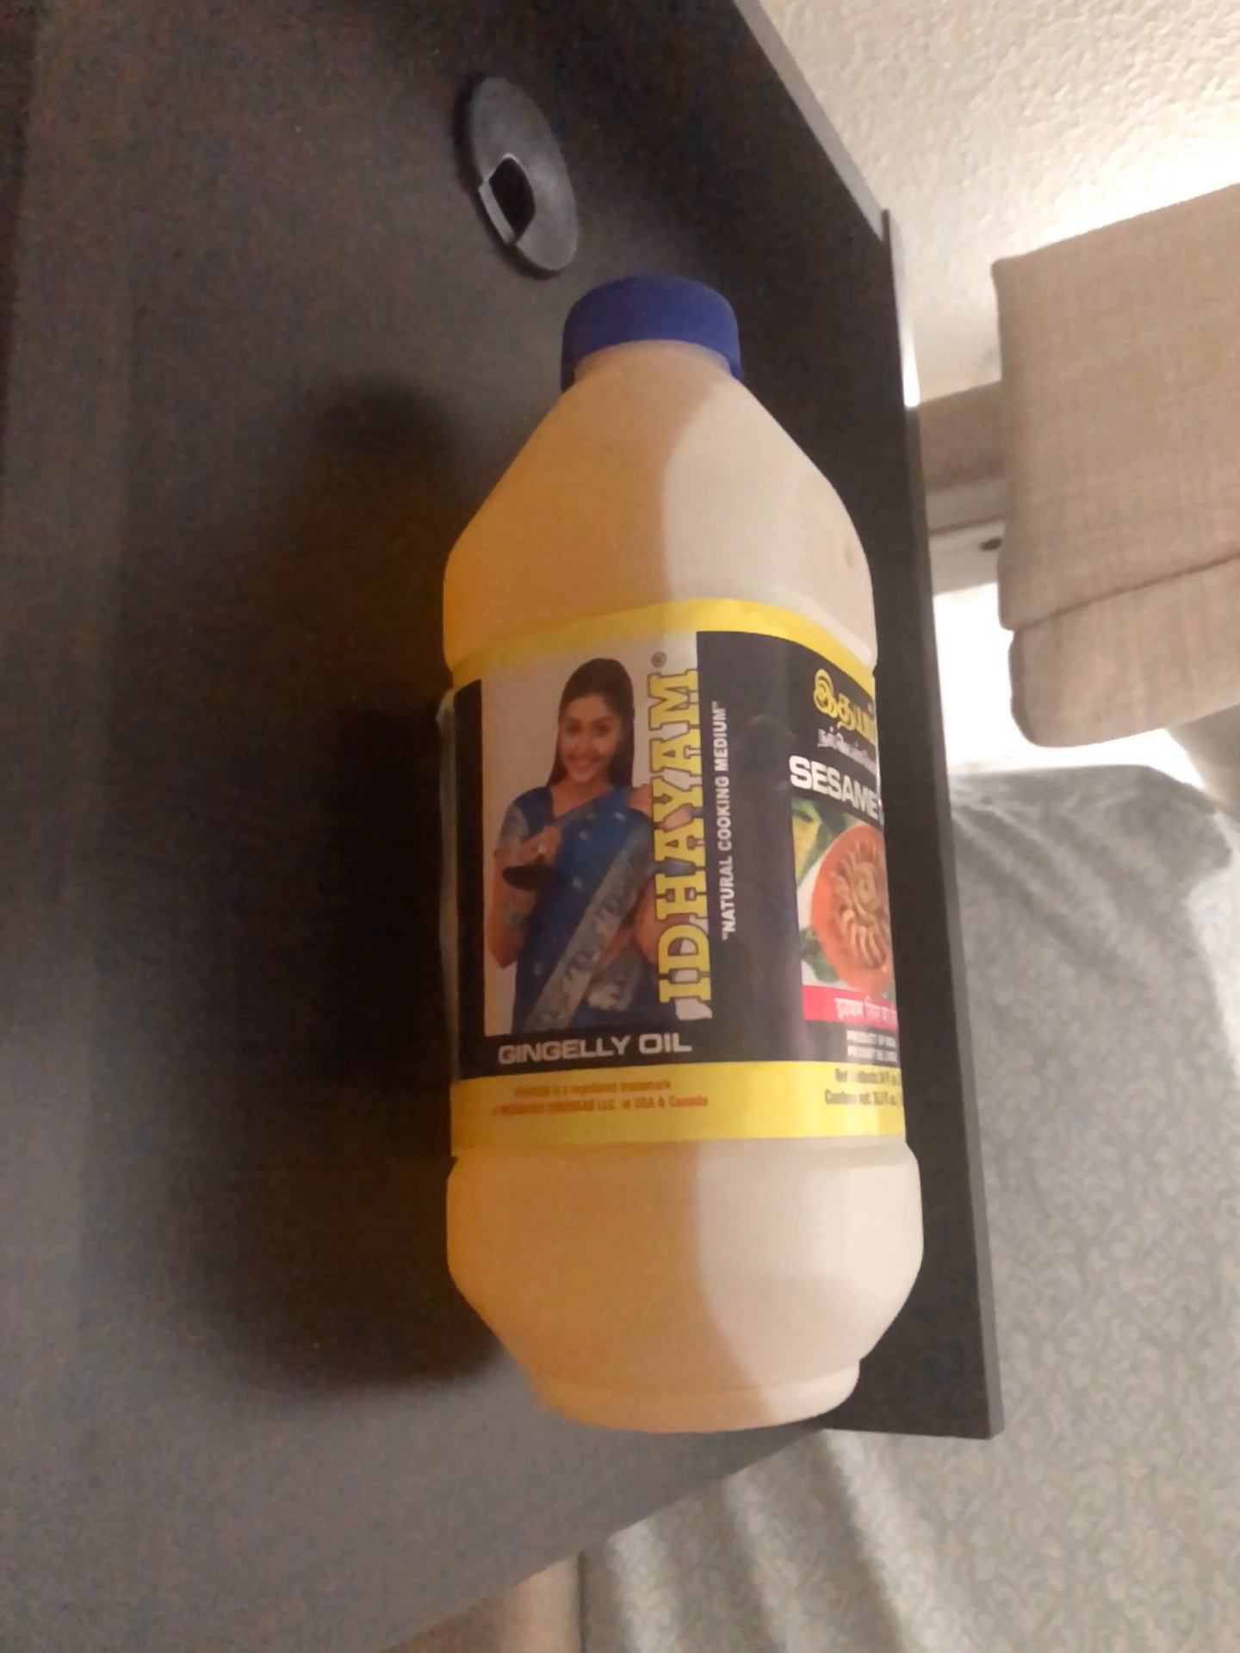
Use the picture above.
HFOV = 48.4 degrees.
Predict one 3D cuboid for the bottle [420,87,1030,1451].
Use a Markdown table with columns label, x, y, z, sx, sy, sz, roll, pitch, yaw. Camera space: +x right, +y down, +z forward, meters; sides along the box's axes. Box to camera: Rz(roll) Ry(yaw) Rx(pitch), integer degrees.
| label | x | y | z | sx | sy | sz | roll | pitch | yaw |
| --- | --- | --- | --- | --- | --- | --- | --- | --- | --- |
| bottle | 0.022 | -0.010 | 0.302 | 0.091 | 0.089 | 0.250 | 21 | 64 | -58 |
